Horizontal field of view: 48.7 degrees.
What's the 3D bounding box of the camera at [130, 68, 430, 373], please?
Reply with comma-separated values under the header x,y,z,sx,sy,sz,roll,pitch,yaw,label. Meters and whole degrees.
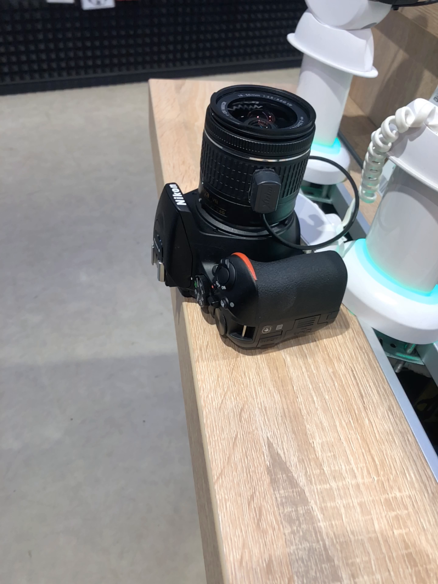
x,y,z,sx,sy,sz,roll,pitch,yaw,label
0.021,-0.052,0.302,0.115,0.117,0.132,-13,46,-19,camera
